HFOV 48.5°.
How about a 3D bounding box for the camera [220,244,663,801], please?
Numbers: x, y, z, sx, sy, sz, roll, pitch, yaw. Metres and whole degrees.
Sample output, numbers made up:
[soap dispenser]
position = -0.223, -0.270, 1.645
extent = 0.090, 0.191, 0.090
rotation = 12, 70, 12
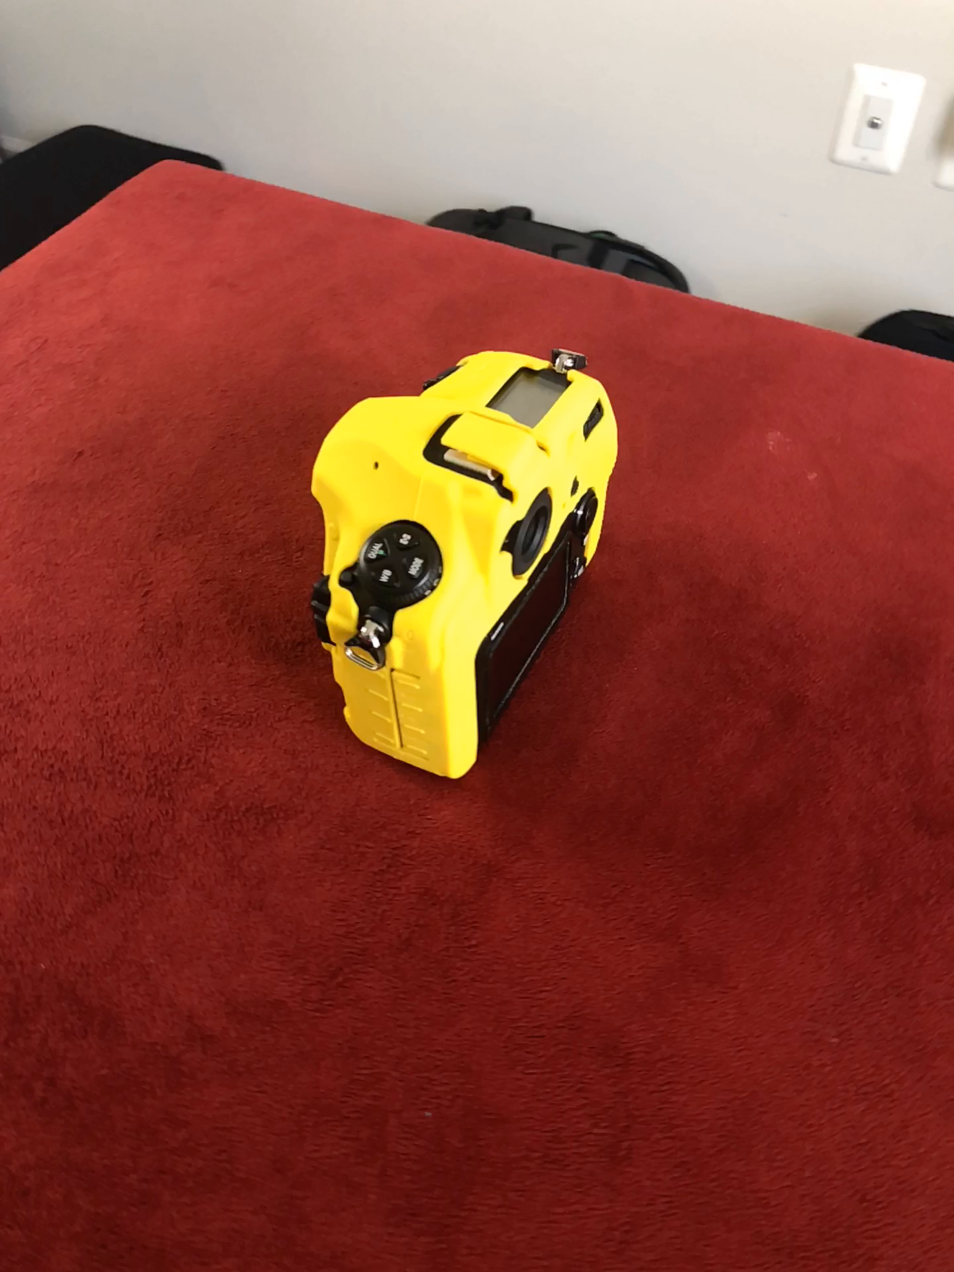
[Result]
[camera]
position = -0.003, -0.046, 0.399
extent = 0.082, 0.116, 0.161
rotation = 21, 54, 18
